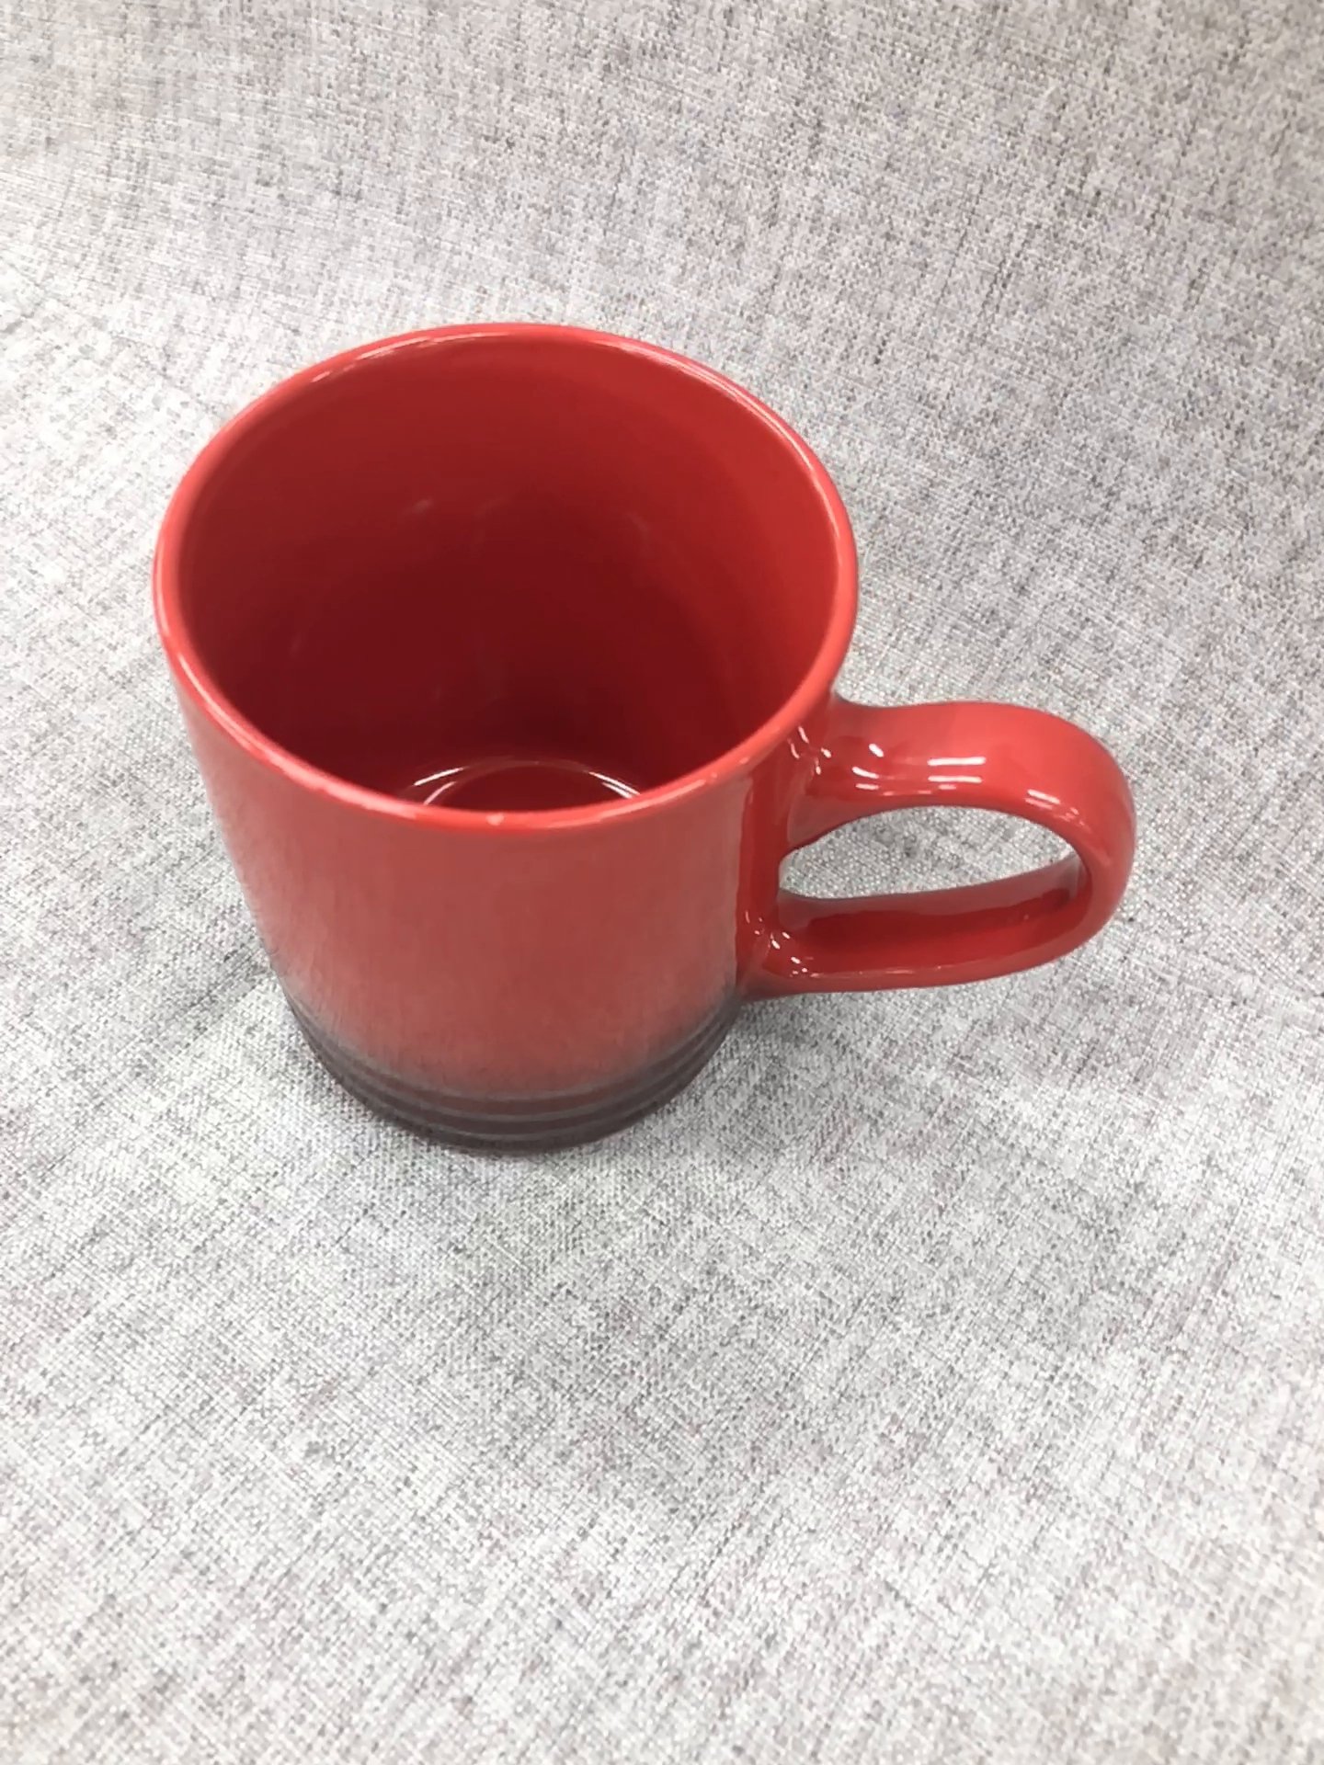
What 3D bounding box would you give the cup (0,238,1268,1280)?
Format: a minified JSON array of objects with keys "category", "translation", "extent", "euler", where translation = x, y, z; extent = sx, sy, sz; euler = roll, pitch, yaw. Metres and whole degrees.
[{"category":"cup","translation":[-0.003,-0.013,0.211],"extent":[0.140,0.100,0.080],"euler":[12,59,6]}]
